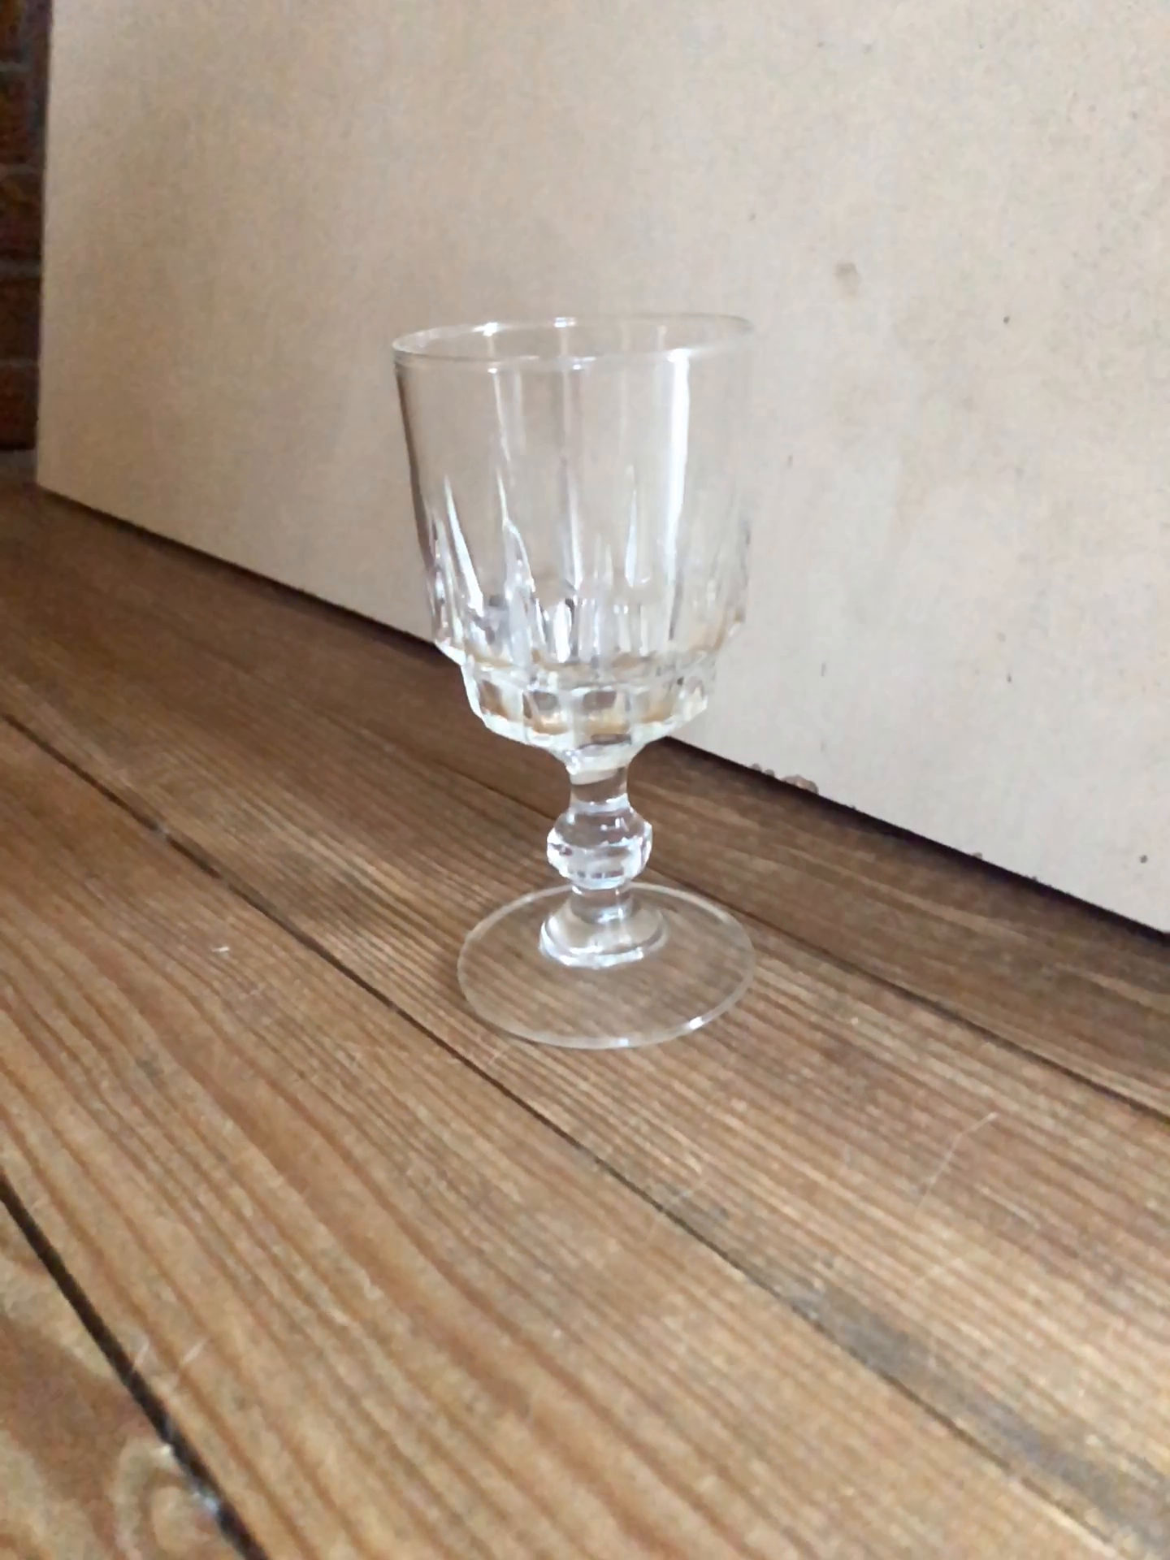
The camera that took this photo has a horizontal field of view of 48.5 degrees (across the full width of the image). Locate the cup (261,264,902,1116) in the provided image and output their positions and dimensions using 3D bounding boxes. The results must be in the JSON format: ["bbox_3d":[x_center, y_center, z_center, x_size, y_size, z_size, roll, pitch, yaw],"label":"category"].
[{"bbox_3d":[0.001,-0.022,0.226,0.070,0.119,0.070,-2,25,1],"label":"cup"}]
